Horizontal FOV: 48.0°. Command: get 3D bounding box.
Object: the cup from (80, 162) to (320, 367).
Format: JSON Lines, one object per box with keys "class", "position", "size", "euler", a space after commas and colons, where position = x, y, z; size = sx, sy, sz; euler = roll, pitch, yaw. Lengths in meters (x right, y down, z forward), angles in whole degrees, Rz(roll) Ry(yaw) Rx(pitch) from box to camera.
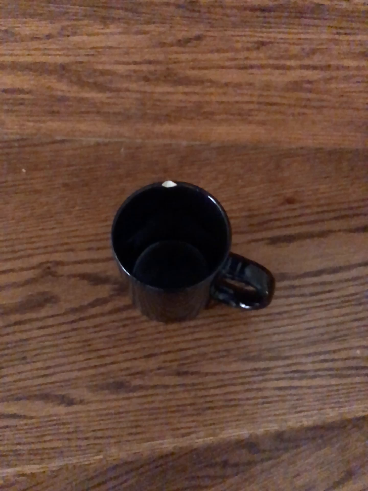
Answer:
{"class": "cup", "position": [0.012, 0.019, 0.314], "size": [0.135, 0.095, 0.091], "euler": [18, 68, 5]}
